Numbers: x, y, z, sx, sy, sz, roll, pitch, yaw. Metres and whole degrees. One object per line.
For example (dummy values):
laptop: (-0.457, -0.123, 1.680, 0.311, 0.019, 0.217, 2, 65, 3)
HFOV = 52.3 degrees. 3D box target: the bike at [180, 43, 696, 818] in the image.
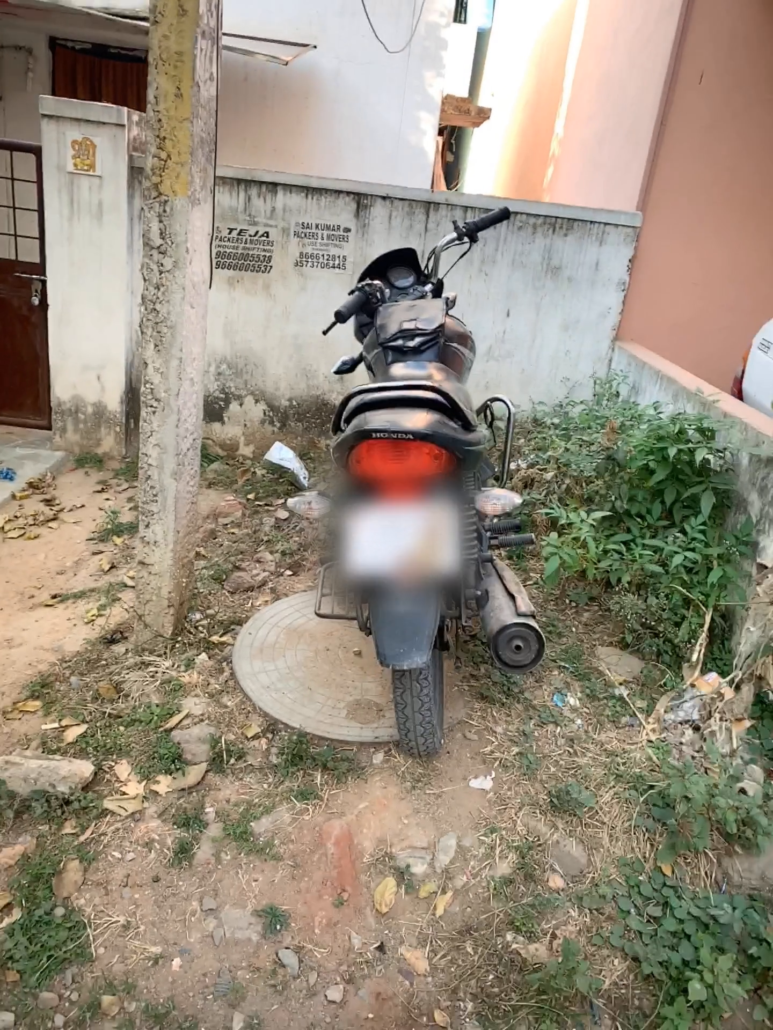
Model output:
bike: (0.051, -0.330, 1.855, 0.734, 1.101, 1.247, 7, 31, -3)
